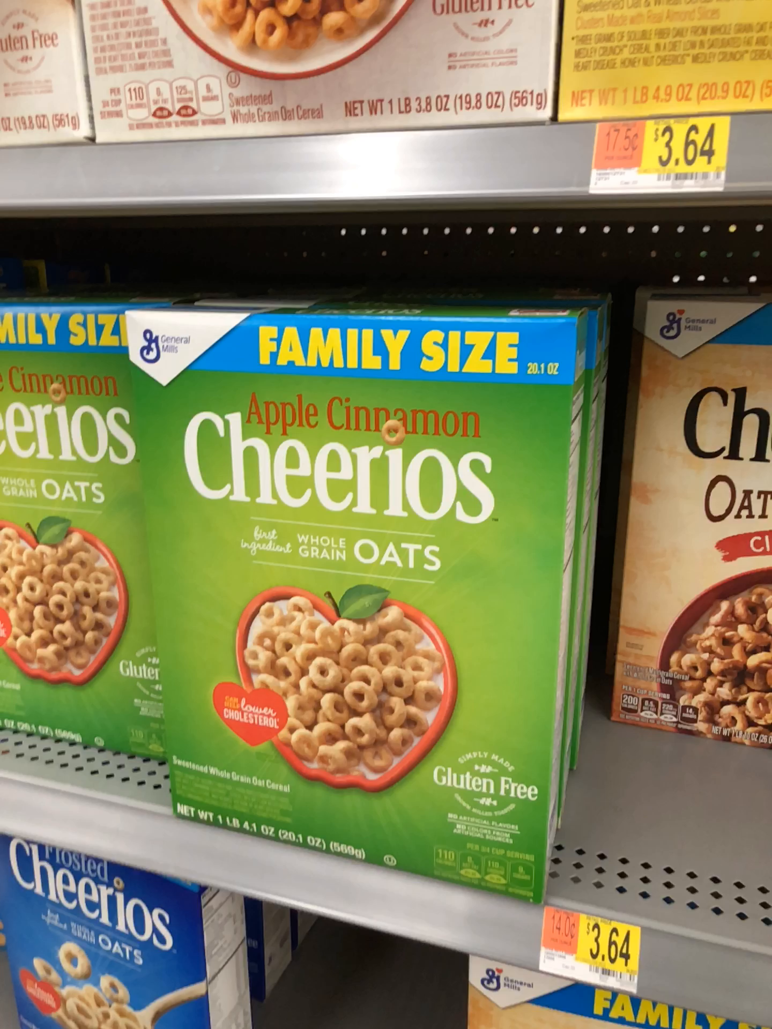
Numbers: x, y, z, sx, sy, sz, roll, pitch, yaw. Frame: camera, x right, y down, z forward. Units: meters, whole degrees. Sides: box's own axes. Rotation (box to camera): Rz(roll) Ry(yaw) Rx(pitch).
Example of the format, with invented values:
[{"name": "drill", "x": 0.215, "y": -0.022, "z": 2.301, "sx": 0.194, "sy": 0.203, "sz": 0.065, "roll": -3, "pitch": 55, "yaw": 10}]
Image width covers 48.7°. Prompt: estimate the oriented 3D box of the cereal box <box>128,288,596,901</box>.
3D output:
[{"name": "cereal box", "x": -0.016, "y": 0.037, "z": 0.473, "sx": 0.230, "sy": 0.309, "sz": 0.060, "roll": 6, "pitch": 17, "yaw": 18}]
